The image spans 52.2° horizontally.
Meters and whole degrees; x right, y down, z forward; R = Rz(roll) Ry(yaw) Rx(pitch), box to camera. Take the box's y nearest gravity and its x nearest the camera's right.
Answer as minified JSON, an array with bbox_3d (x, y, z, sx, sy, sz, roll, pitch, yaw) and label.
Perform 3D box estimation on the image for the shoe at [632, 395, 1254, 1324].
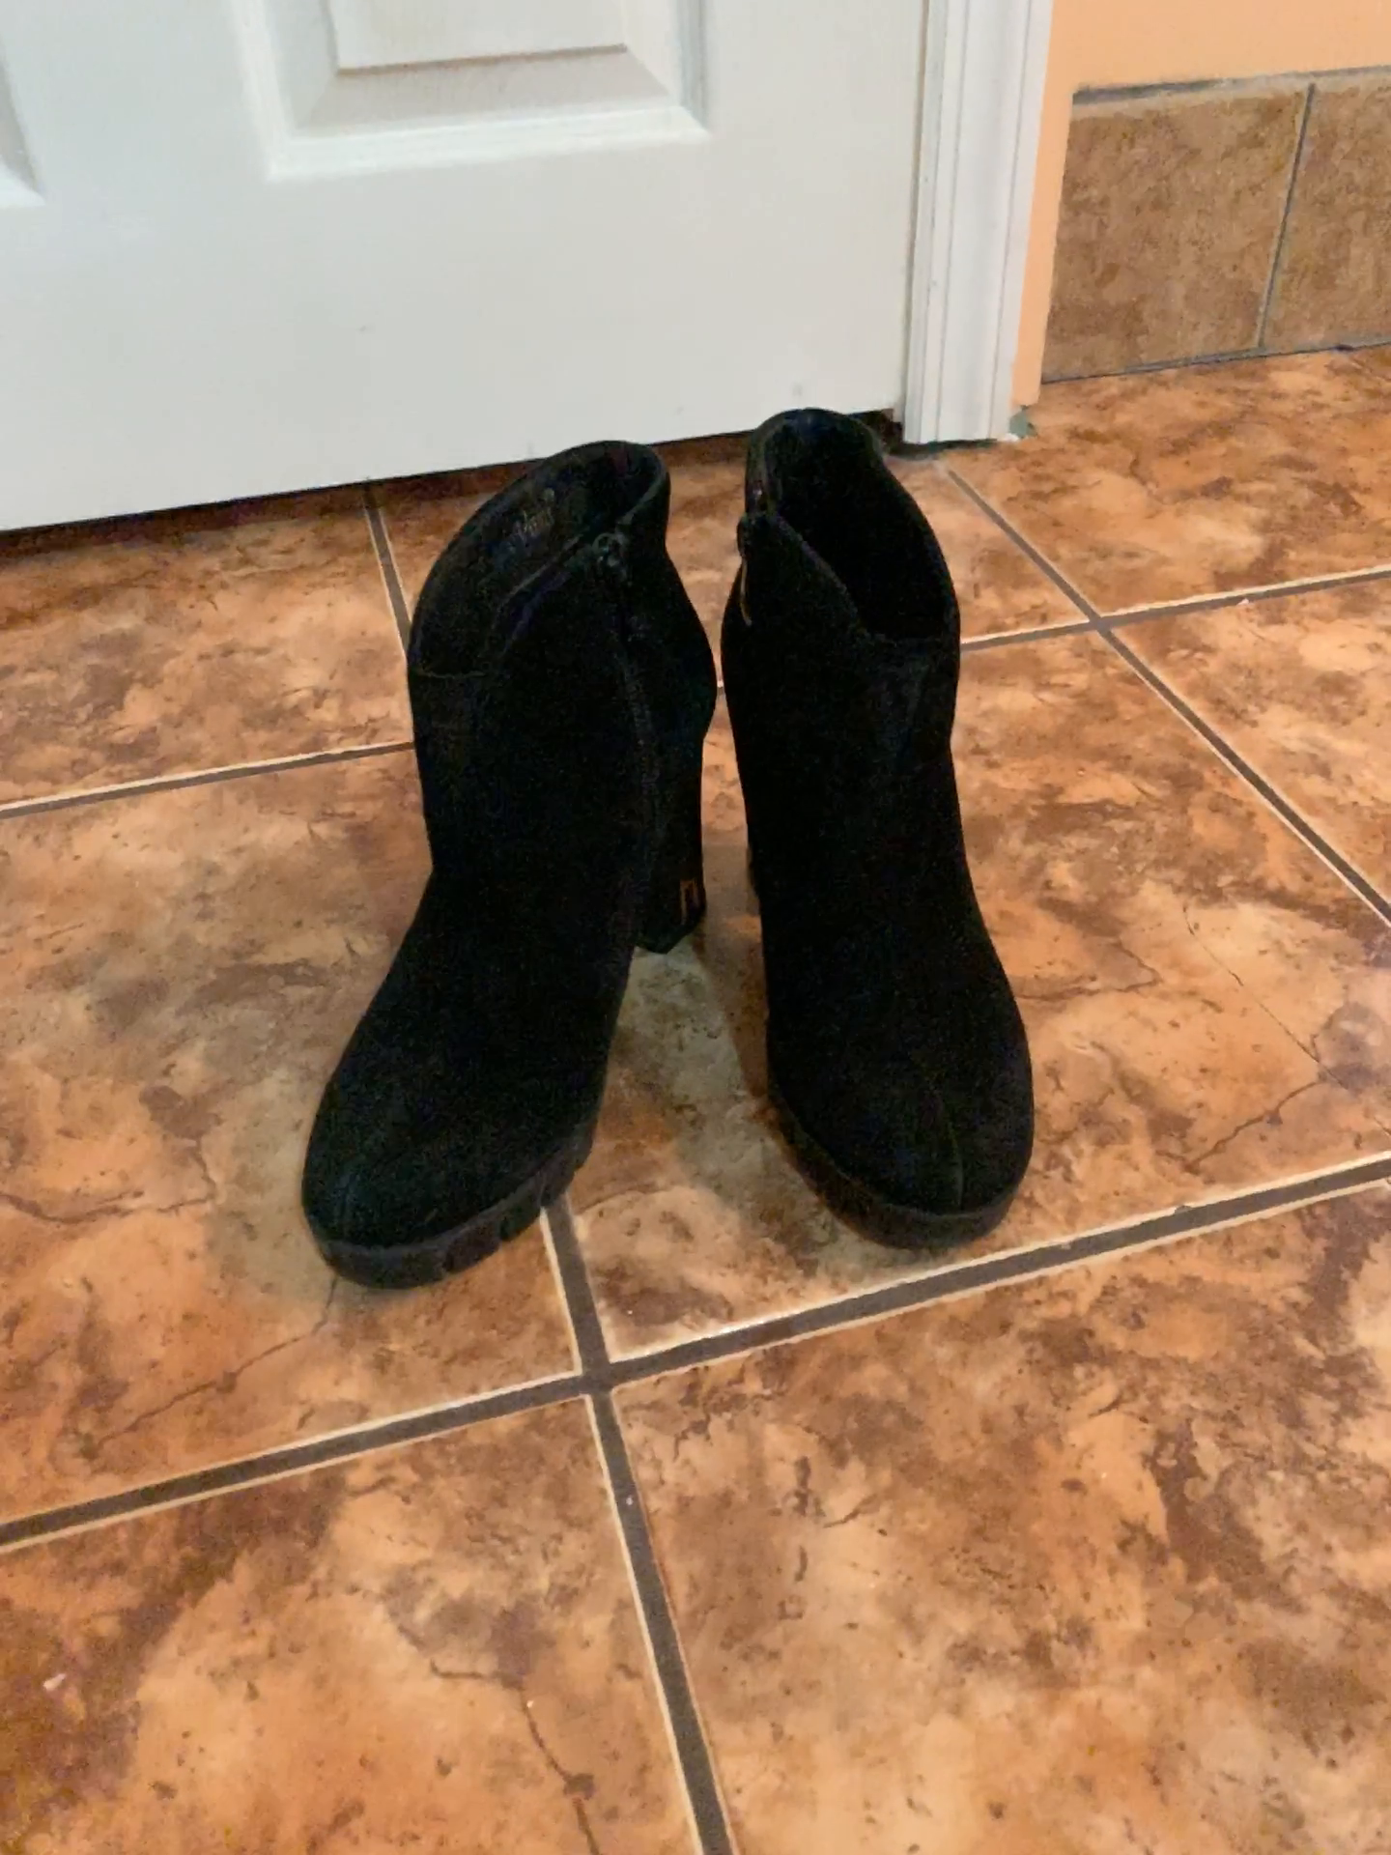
[{"bbox_3d":[0.054,-0.033,0.449,0.094,0.180,0.230,-10,41,-9],"label":"shoe"}]

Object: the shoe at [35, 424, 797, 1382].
[{"bbox_3d":[-0.055,-0.020,0.440,0.094,0.180,0.230,15,43,20],"label":"shoe"}]
